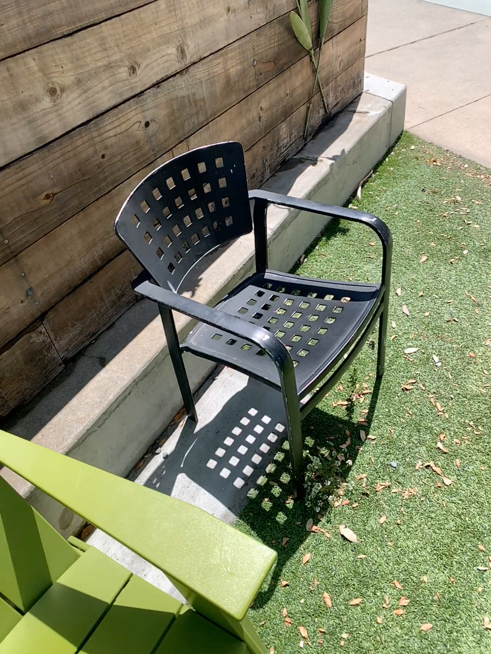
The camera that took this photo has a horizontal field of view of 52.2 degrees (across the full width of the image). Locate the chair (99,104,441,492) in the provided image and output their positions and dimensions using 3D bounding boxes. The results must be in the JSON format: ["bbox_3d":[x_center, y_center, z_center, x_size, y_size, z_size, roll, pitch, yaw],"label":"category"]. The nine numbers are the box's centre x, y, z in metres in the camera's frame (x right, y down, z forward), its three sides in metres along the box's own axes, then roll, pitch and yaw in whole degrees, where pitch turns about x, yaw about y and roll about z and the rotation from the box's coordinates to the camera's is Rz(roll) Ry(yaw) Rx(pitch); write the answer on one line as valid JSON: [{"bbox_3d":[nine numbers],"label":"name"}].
[{"bbox_3d":[0.103,-0.098,1.351,0.522,0.716,0.591,22,50,28],"label":"chair"}]
